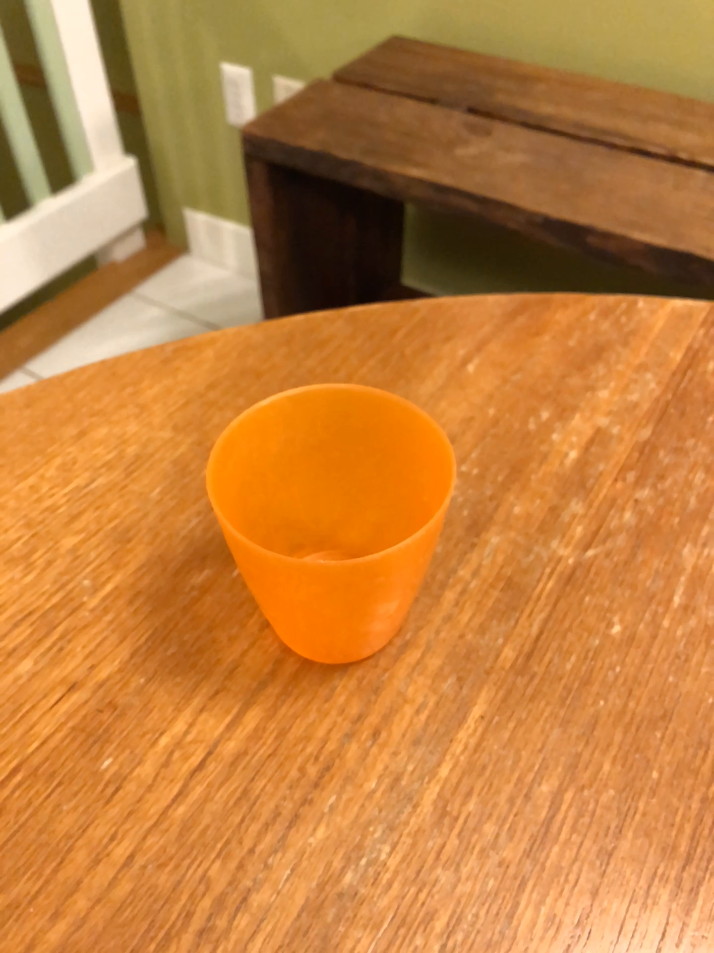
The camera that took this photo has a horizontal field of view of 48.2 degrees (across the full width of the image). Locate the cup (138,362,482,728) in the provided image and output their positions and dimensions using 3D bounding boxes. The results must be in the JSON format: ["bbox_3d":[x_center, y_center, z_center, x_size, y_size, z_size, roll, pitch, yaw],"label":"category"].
[{"bbox_3d":[-0.011,0.020,0.269,0.079,0.066,0.080,0,46,0],"label":"cup"}]
